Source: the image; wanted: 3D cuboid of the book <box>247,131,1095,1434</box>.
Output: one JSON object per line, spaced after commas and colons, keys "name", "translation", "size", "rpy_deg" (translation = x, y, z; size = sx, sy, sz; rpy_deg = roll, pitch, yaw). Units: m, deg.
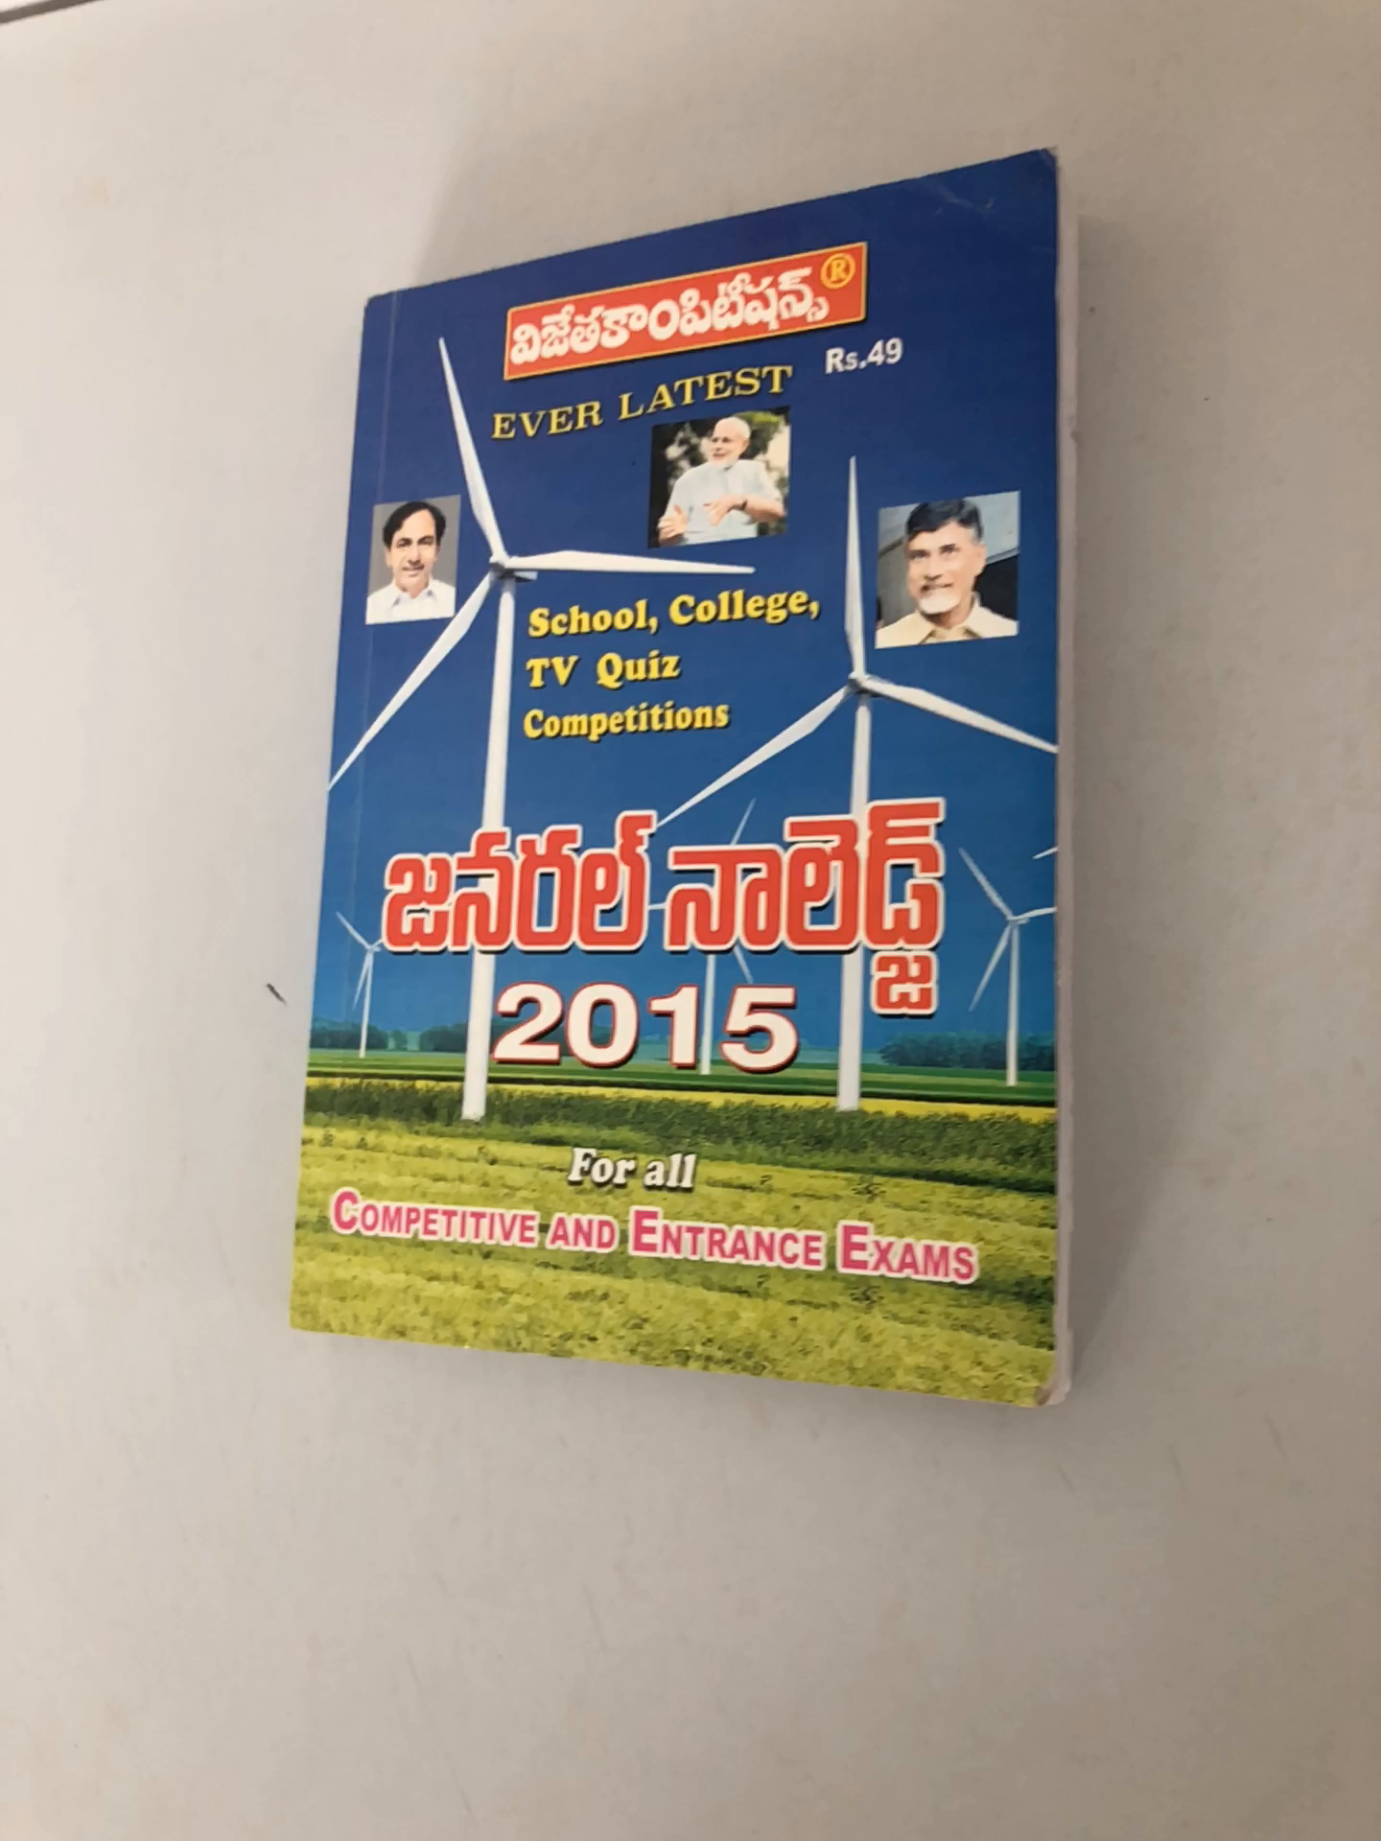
{"name": "book", "translation": [-0.003, -0.022, 0.245], "size": [0.129, 0.022, 0.182], "rpy_deg": [-1, 81, 22]}
